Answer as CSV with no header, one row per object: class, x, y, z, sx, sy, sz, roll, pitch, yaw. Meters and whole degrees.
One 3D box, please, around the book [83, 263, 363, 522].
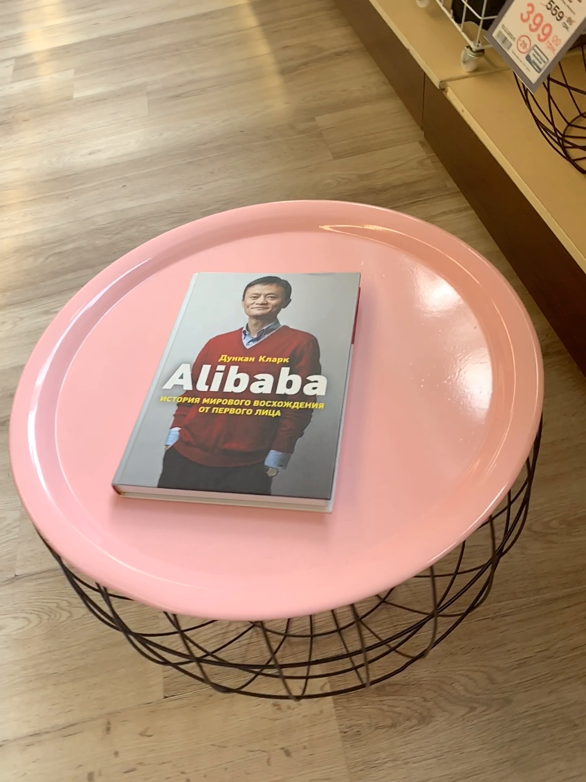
book,-0.044,-0.016,0.503,0.180,0.026,0.241,3,53,12
